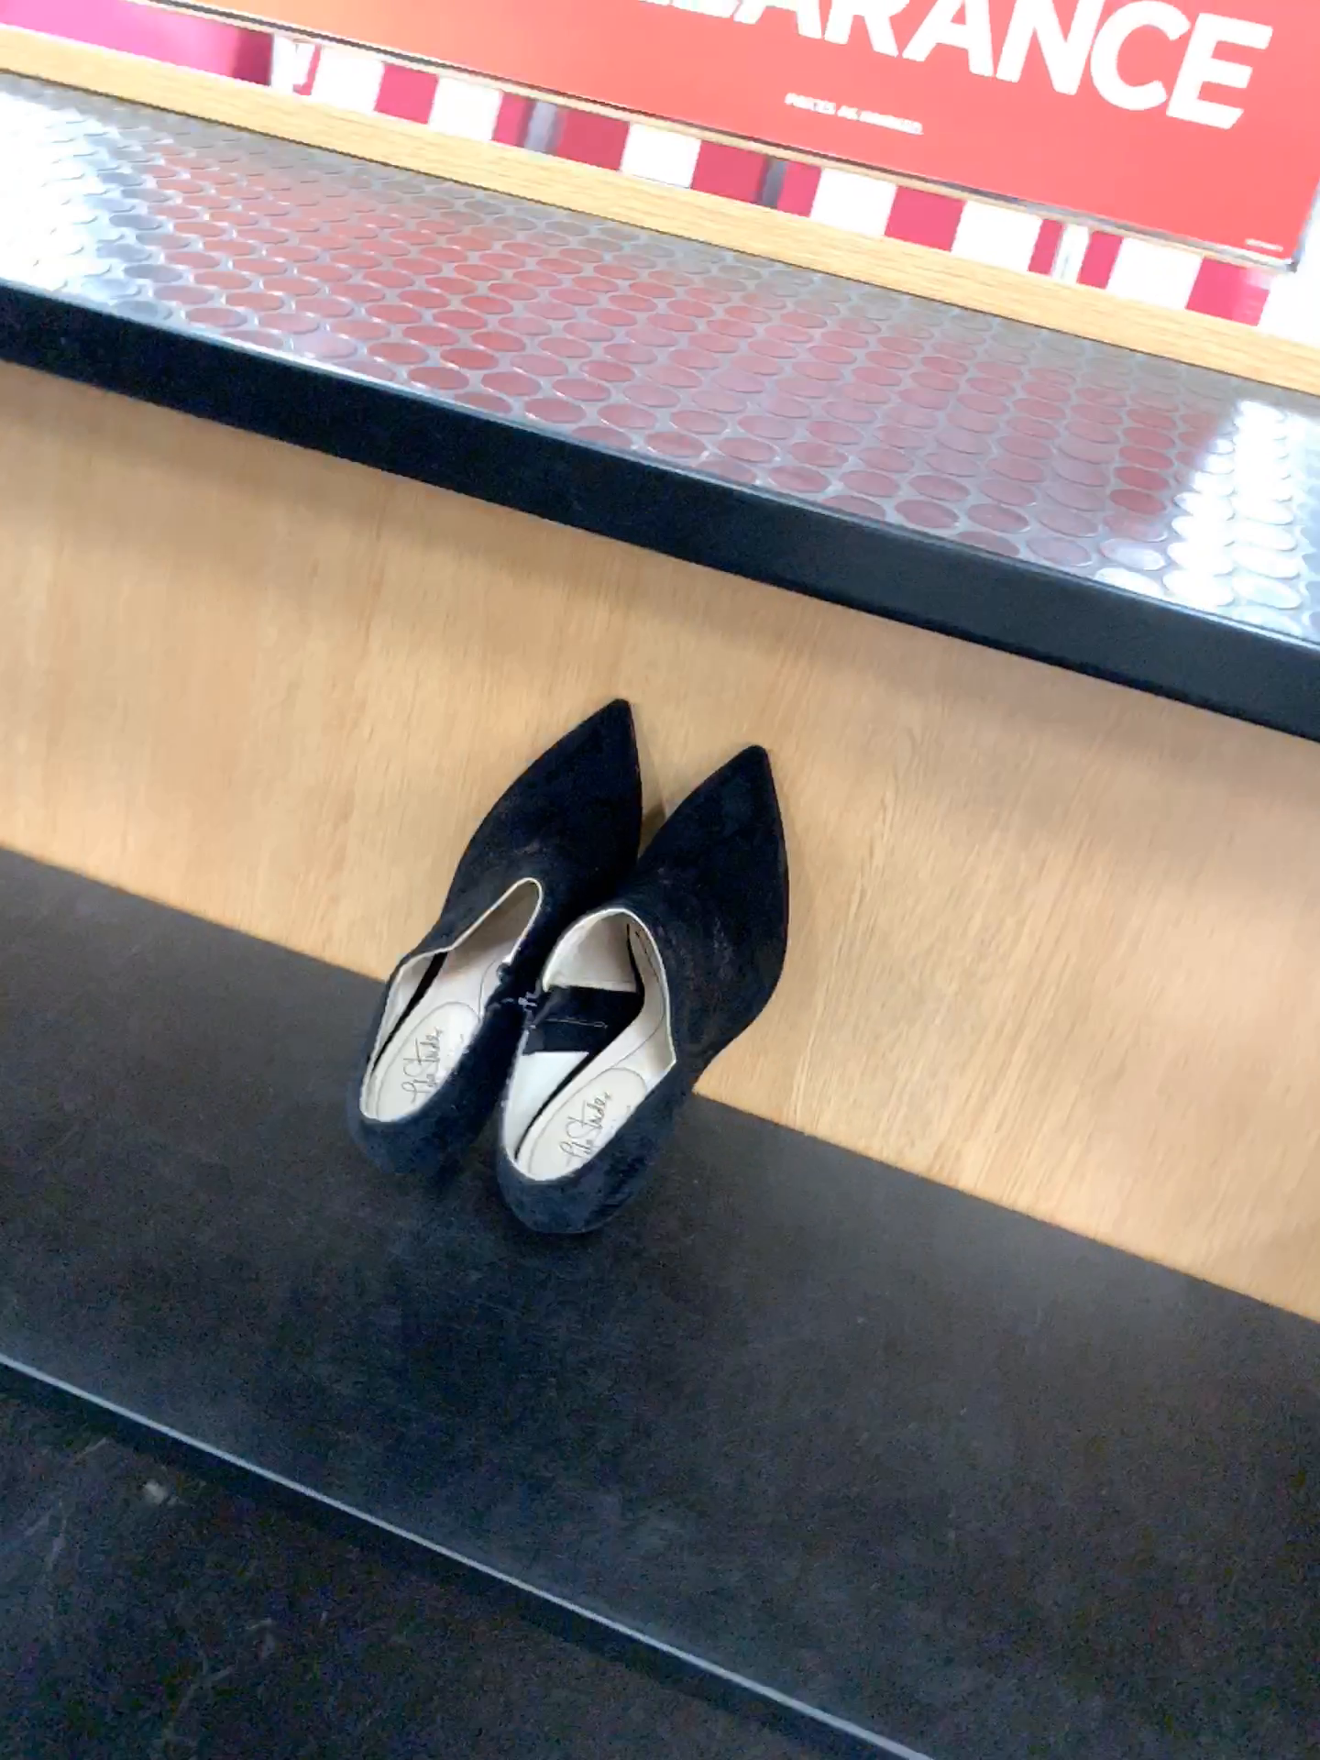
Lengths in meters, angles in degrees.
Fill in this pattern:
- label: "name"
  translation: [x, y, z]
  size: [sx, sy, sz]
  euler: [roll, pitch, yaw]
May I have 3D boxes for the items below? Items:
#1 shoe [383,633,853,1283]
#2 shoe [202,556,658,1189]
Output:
- label: "shoe"
  translation: [-0.008, 0.038, 0.672]
  size: [0.111, 0.281, 0.120]
  euler: [16, -16, 20]
- label: "shoe"
  translation: [-0.099, 0.001, 0.677]
  size: [0.101, 0.271, 0.140]
  euler: [18, -16, 9]
